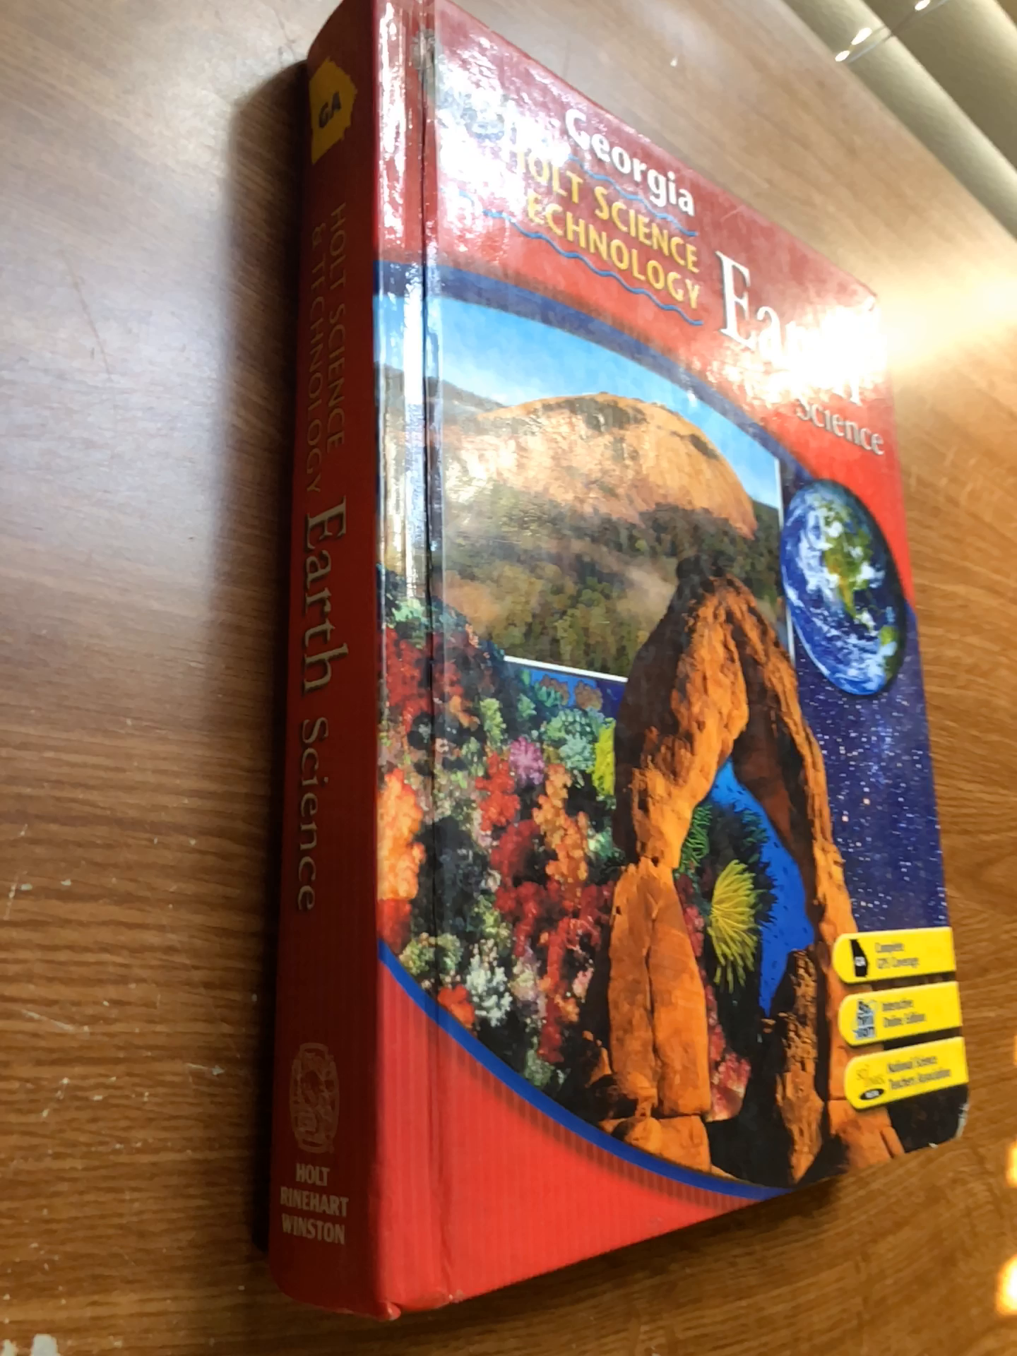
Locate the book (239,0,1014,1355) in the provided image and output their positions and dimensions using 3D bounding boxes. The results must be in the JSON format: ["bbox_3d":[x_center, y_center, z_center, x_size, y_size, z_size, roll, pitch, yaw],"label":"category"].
[{"bbox_3d":[0.042,-0.002,0.291,0.216,0.050,0.265,10,73,-42],"label":"book"}]
